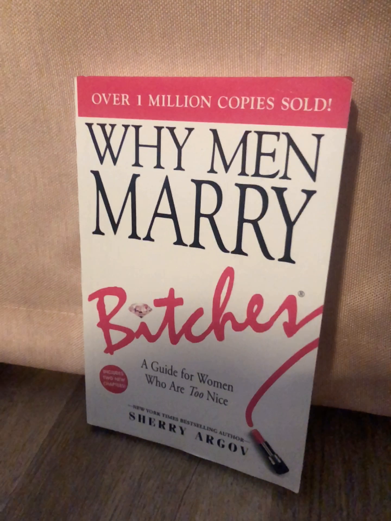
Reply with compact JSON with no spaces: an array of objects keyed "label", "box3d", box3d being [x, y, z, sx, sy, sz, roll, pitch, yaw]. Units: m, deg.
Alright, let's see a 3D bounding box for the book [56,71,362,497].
[{"label":"book","box3d":[-0.002,0.012,0.252,0.150,0.219,0.037,9,19,18]}]
